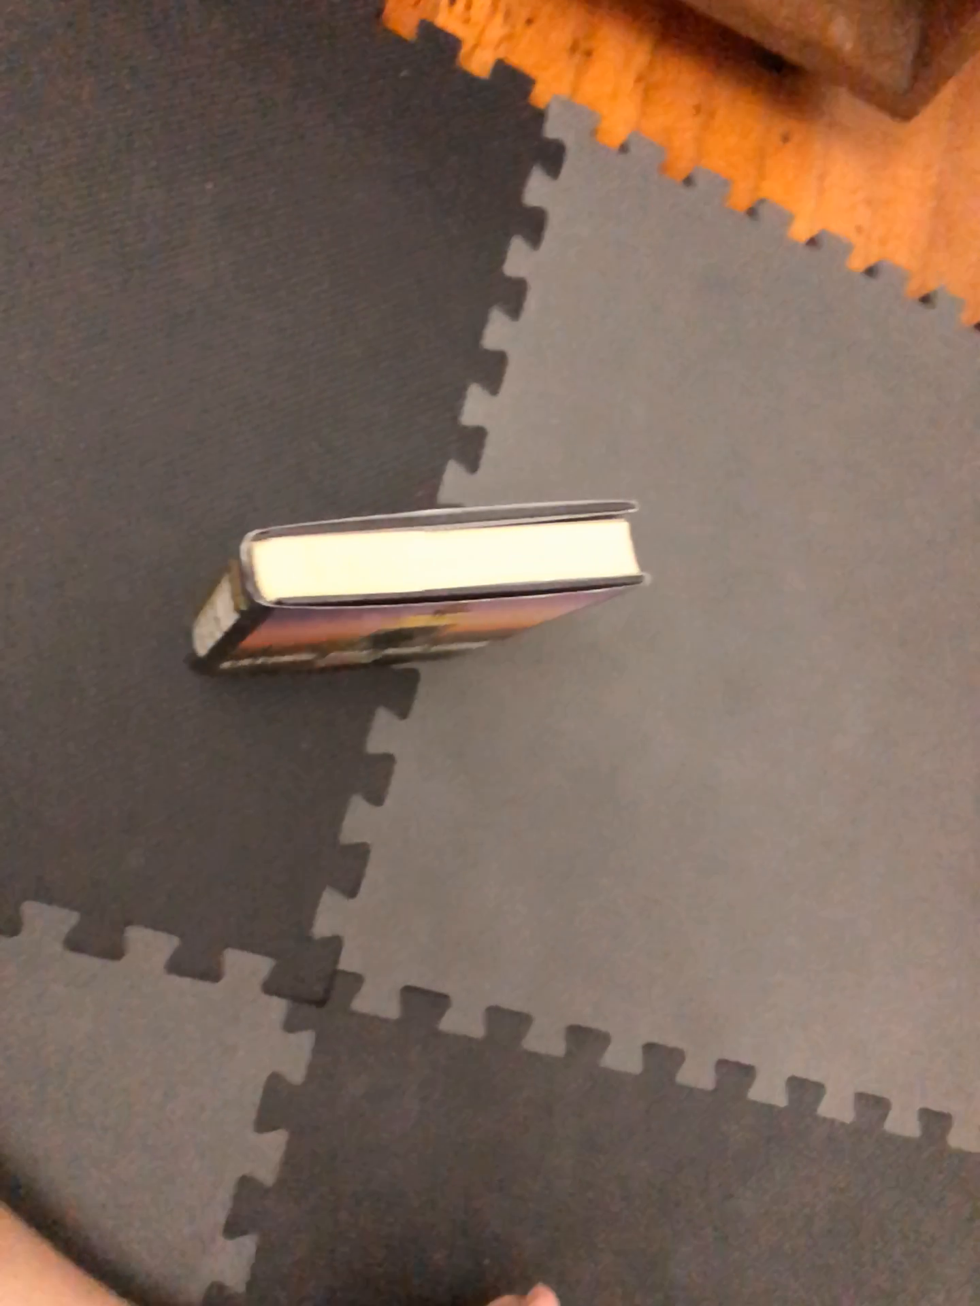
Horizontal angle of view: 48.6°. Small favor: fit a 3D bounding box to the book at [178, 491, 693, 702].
[{"bbox_3d":[-0.048,-0.019,0.534,0.180,0.259,0.050,-7,87,-21],"label":"book"}]
